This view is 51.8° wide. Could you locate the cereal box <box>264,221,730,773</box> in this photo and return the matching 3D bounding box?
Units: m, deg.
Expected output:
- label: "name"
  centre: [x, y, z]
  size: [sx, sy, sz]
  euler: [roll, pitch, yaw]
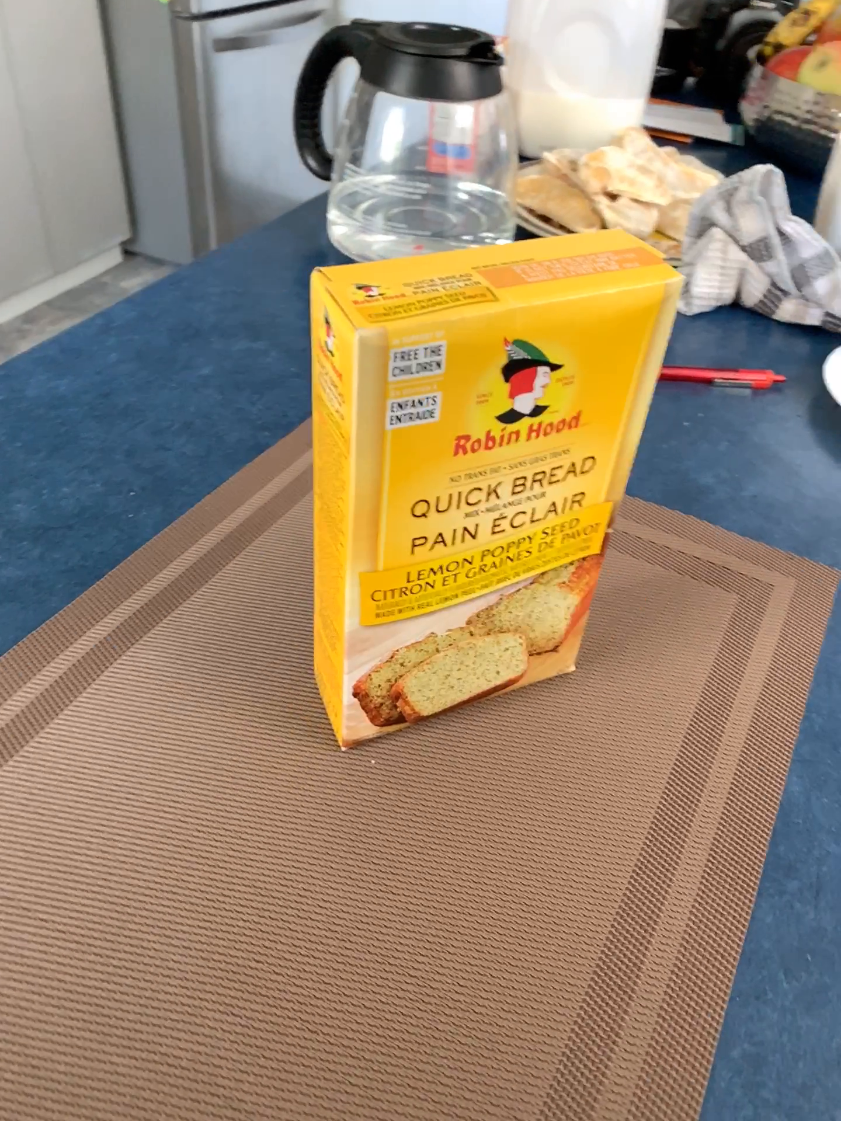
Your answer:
- label: "cereal box"
  centre: [0.019, -0.016, 0.304]
  size: [0.130, 0.178, 0.040]
  euler: [-14, 44, -21]
